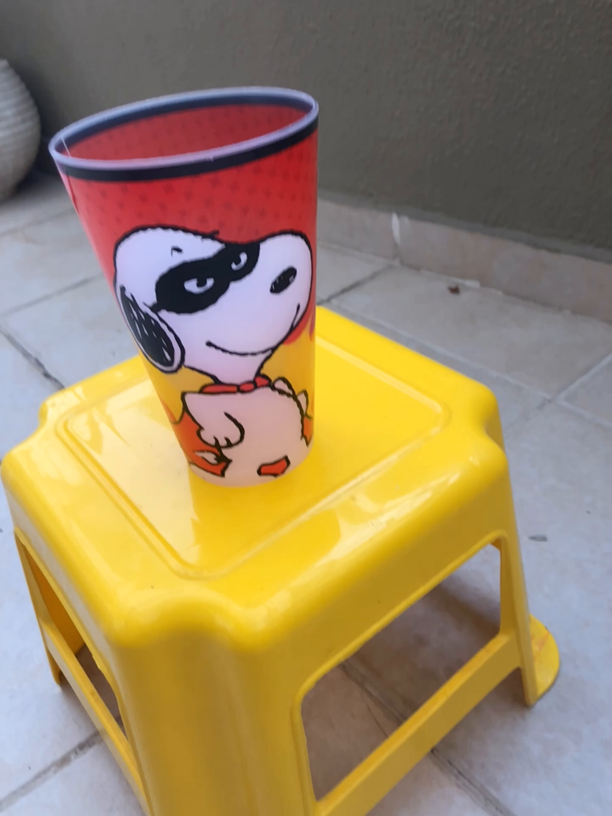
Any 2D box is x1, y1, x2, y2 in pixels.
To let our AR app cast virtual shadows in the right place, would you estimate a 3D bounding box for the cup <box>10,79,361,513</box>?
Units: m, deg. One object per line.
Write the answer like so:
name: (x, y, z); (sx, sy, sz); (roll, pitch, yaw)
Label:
cup: (-0.039, -0.050, 0.297); (0.100, 0.139, 0.111); (-9, 35, 0)
